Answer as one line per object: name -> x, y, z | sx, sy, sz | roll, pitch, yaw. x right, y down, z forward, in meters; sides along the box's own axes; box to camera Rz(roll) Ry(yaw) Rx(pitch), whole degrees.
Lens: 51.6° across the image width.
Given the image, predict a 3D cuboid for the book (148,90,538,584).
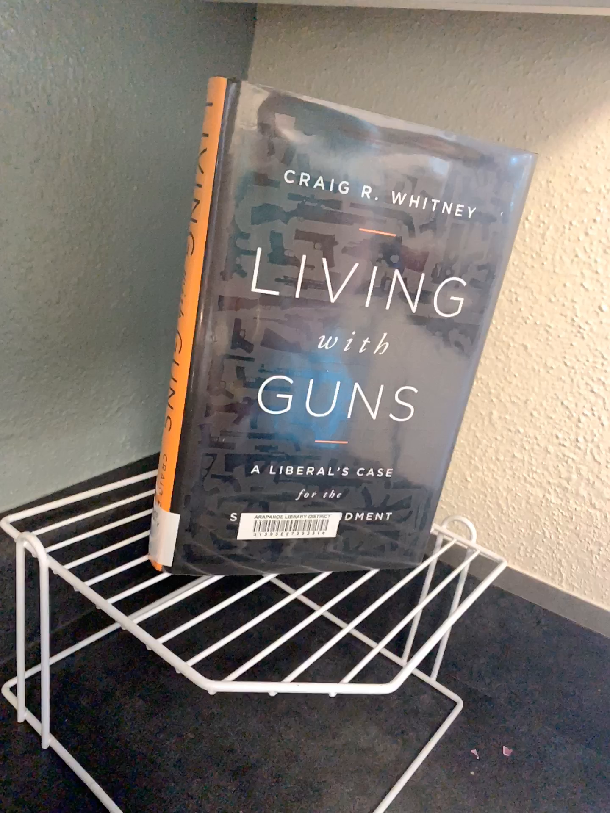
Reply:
book -> 0.014, -0.023, 0.333 | 0.171, 0.229, 0.040 | 3, 15, -18
